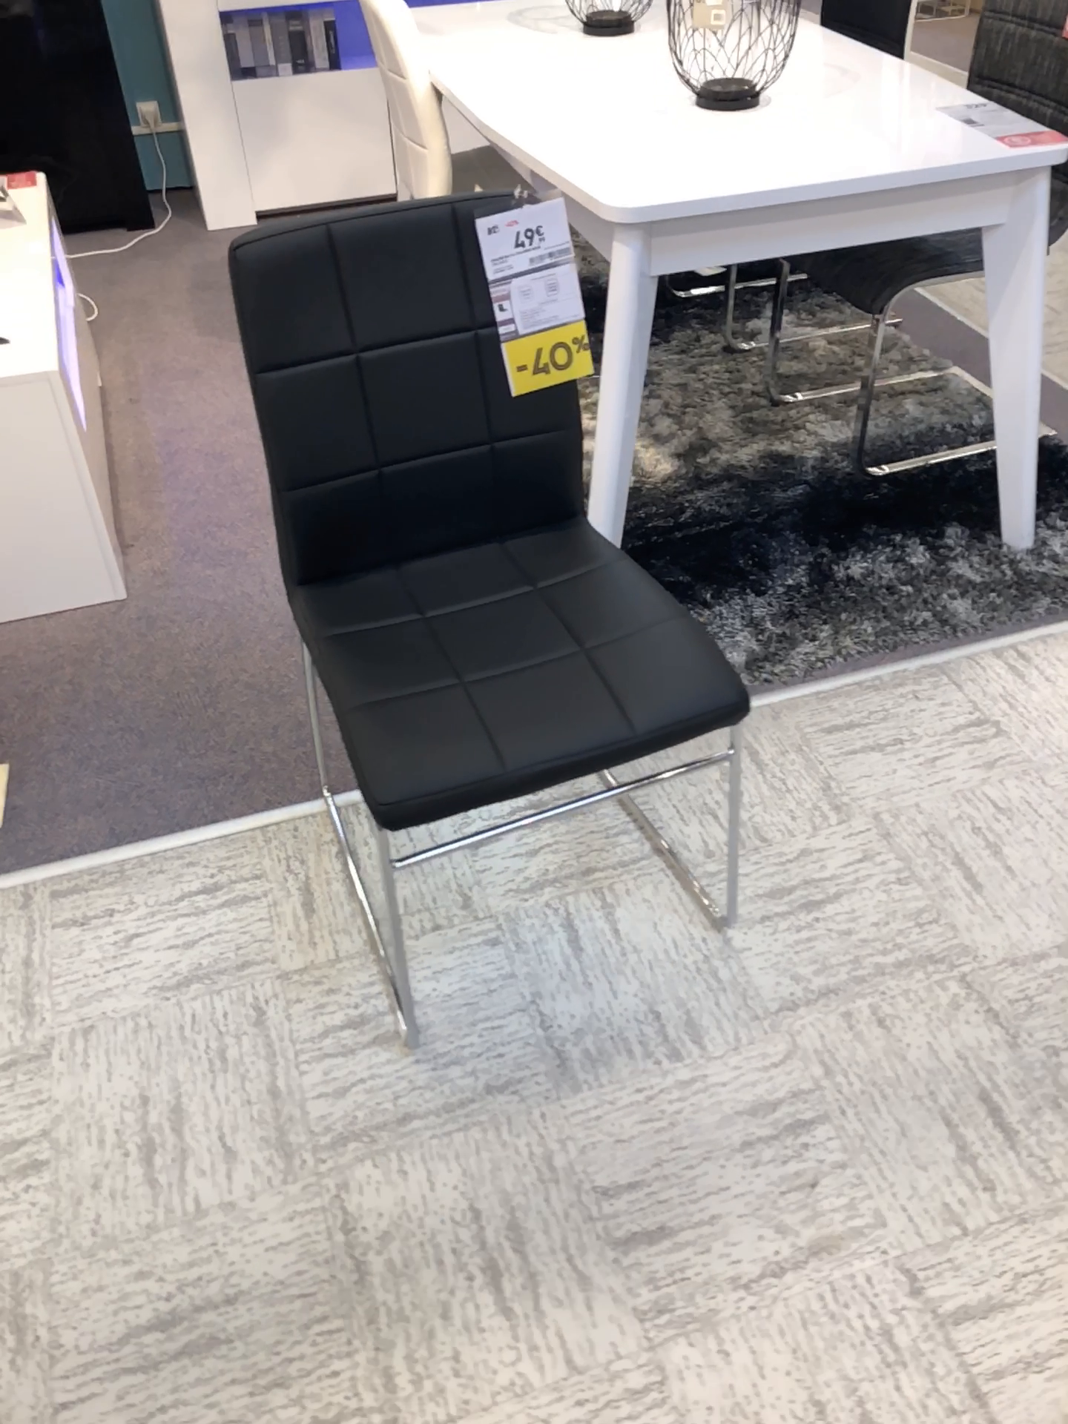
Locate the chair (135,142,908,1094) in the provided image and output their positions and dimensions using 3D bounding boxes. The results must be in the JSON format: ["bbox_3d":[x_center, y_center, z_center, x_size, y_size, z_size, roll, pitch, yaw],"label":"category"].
[{"bbox_3d":[-0.050,-0.129,1.366,0.551,0.795,0.632,-16,42,-15],"label":"chair"}]
